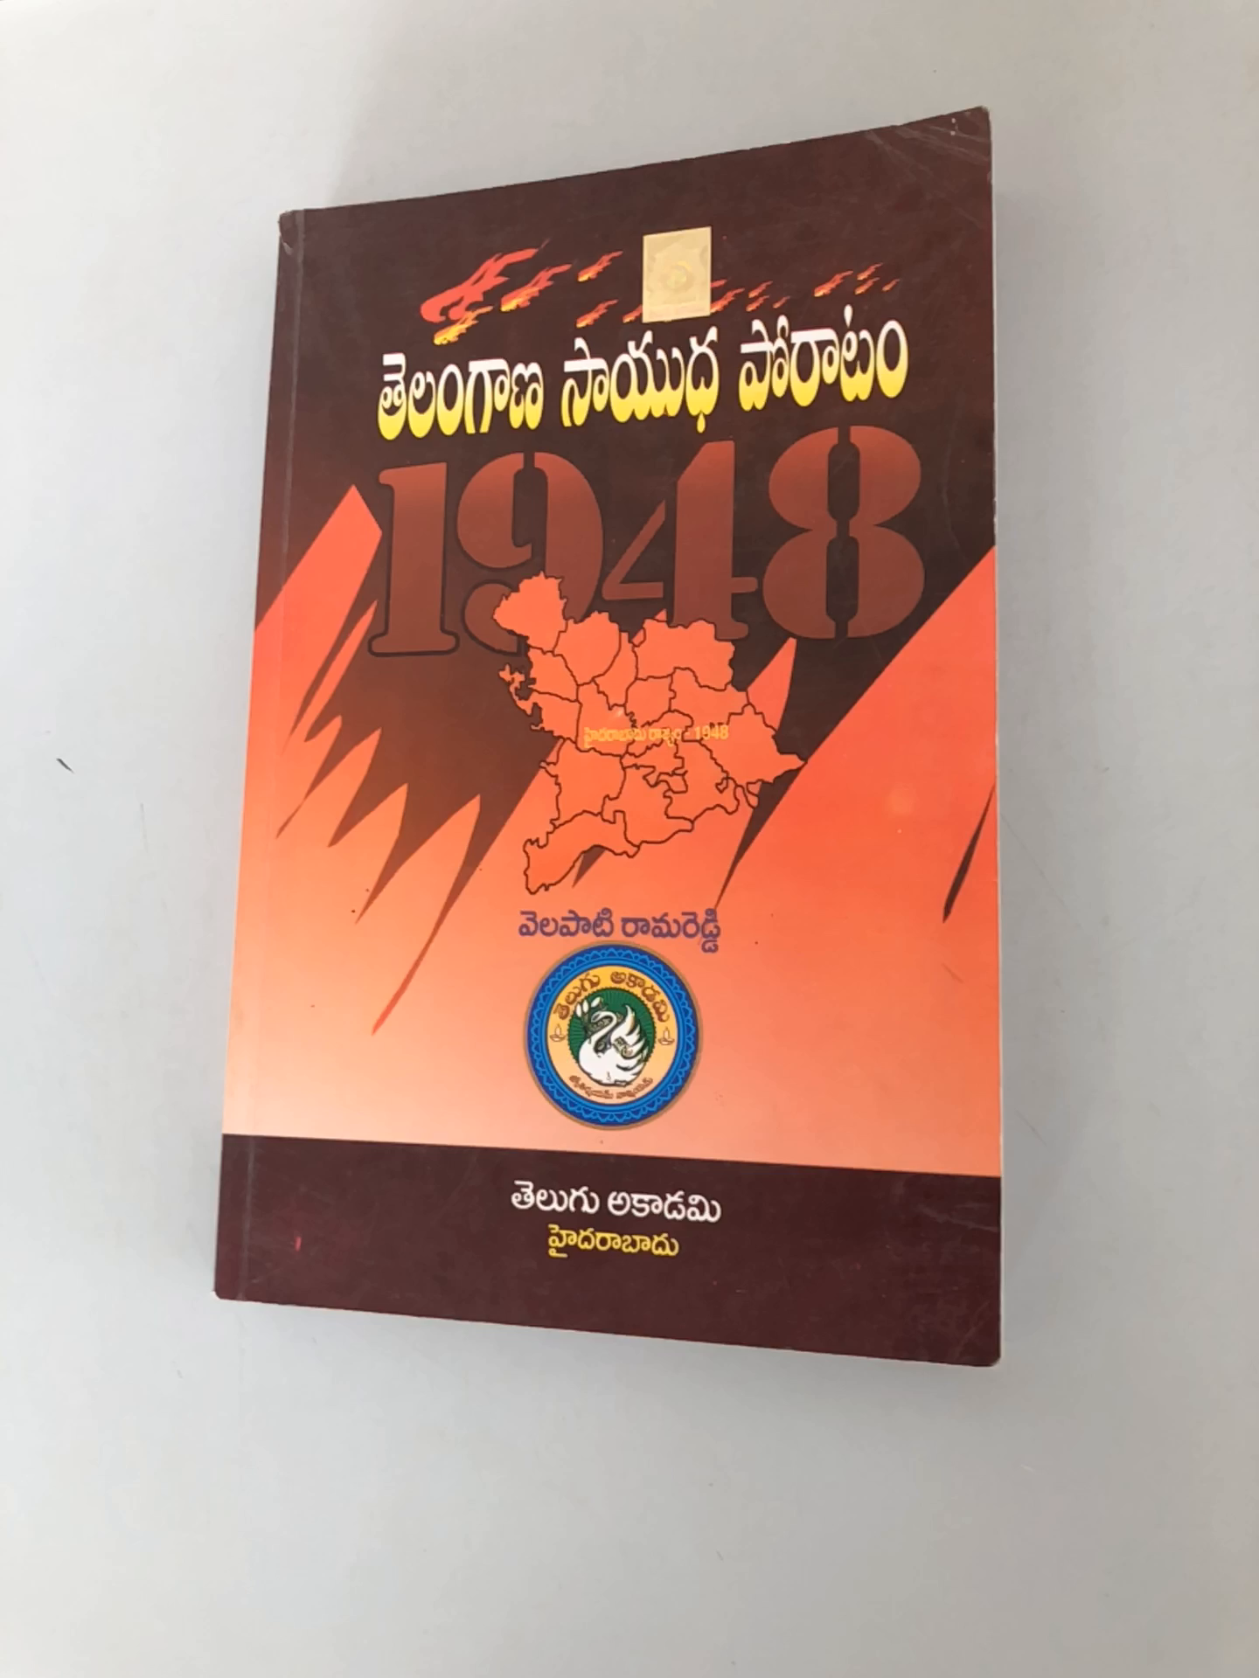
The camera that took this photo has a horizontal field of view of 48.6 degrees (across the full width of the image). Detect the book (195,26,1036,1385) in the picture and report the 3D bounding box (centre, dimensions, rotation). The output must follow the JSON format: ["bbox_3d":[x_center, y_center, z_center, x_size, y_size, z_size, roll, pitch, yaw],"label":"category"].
[{"bbox_3d":[-0.002,-0.032,0.306,0.170,0.030,0.270,0,82,14],"label":"book"}]
